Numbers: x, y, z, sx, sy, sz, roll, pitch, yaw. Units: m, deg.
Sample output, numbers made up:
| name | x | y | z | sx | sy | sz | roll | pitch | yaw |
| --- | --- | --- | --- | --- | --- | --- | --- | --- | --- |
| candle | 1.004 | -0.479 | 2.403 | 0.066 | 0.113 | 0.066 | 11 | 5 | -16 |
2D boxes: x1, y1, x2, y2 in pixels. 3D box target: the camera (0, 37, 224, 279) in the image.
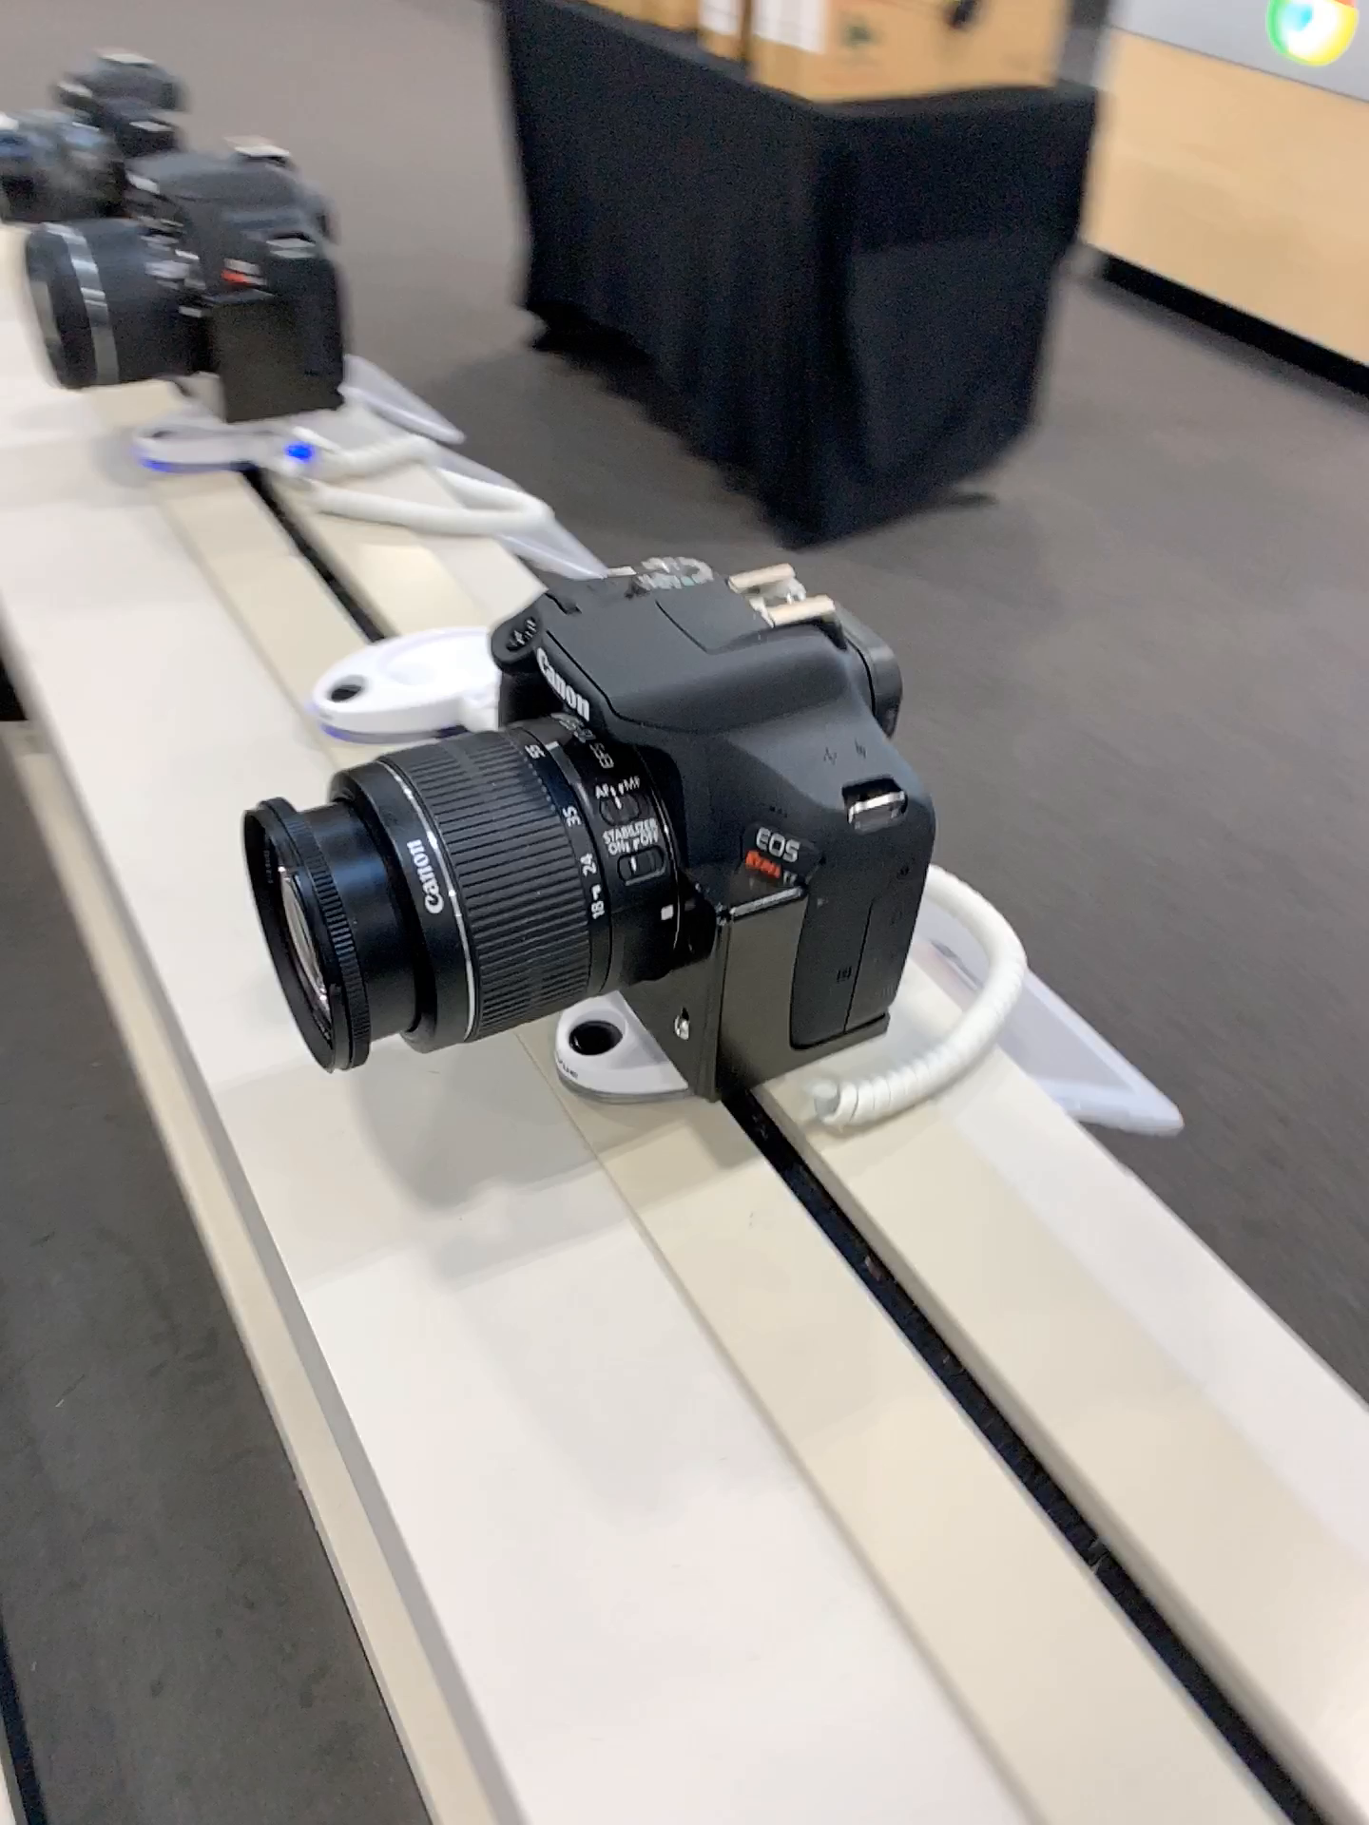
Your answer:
| name | x | y | z | sx | sy | sz | roll | pitch | yaw |
| --- | --- | --- | --- | --- | --- | --- | --- | --- | --- |
| camera | -0.340 | -0.426 | 0.794 | 0.111 | 0.088 | 0.112 | -22 | 48 | -27 |

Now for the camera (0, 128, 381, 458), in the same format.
| name | x | y | z | sx | sy | sz | roll | pitch | yaw |
| --- | --- | --- | --- | --- | --- | --- | --- | --- | --- |
| camera | -0.230 | -0.285 | 0.640 | 0.135 | 0.089 | 0.122 | -22 | 48 | -27 |

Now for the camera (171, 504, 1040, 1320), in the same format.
| name | x | y | z | sx | sy | sz | roll | pitch | yaw |
| --- | --- | --- | --- | --- | --- | --- | --- | --- | --- |
| camera | -0.024 | -0.011 | 0.344 | 0.146 | 0.101 | 0.134 | -18 | 46 | -24 |
